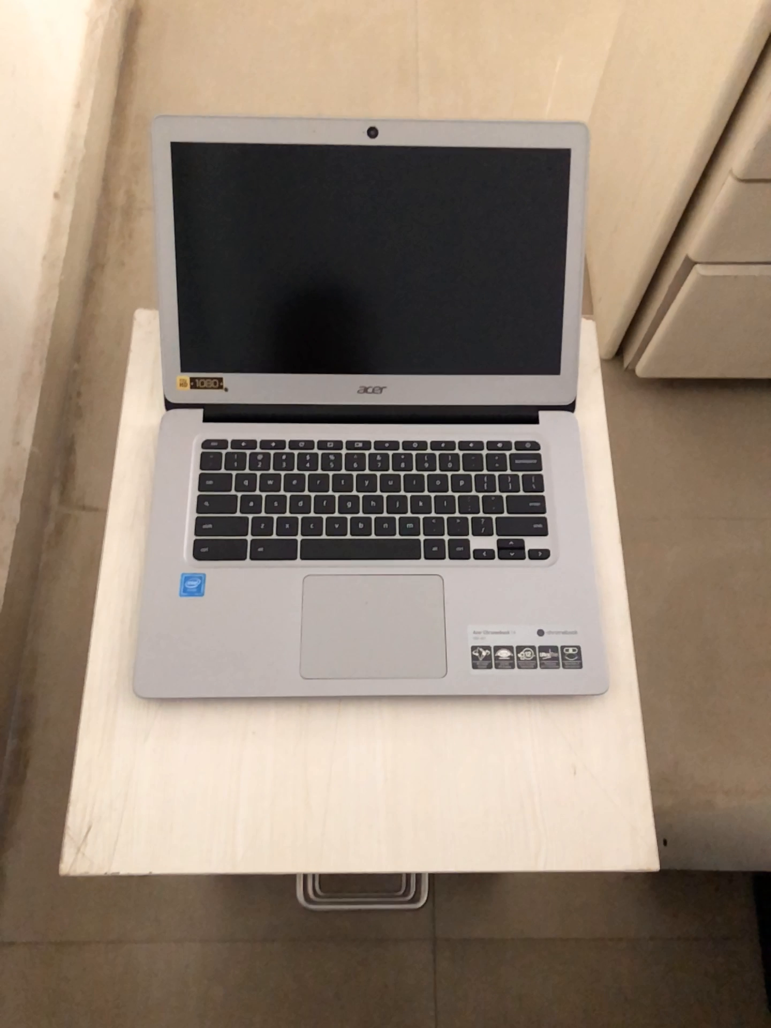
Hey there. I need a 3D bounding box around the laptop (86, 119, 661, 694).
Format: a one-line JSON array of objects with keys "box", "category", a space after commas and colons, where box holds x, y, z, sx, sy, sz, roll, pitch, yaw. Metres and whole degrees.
[{"box": [-0.009, -0.086, 0.626, 0.332, 0.126, 0.409, 0, 67, -2], "category": "laptop"}]
